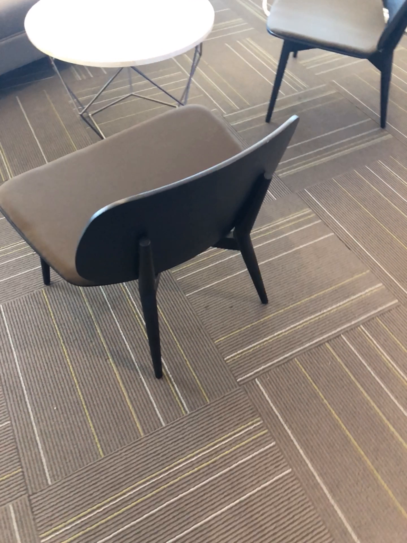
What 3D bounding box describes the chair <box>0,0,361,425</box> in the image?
[{"bbox_3d":[-0.162,-0.193,1.271,0.671,0.737,0.742,-33,58,-23],"label":"chair"}]
